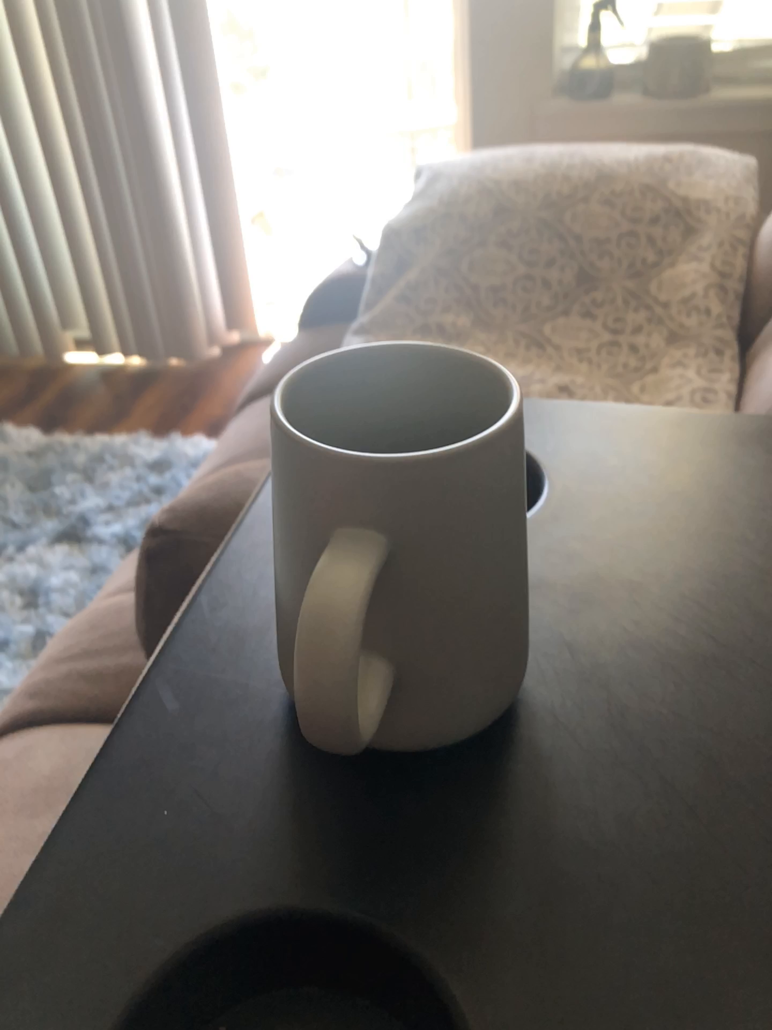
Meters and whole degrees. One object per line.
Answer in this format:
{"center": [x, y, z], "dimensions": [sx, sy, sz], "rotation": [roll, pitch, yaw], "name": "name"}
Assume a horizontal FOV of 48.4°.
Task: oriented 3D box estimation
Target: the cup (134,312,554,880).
{"center": [0.002, 0.016, 0.289], "dimensions": [0.086, 0.121, 0.137], "rotation": [6, 35, 16], "name": "cup"}
